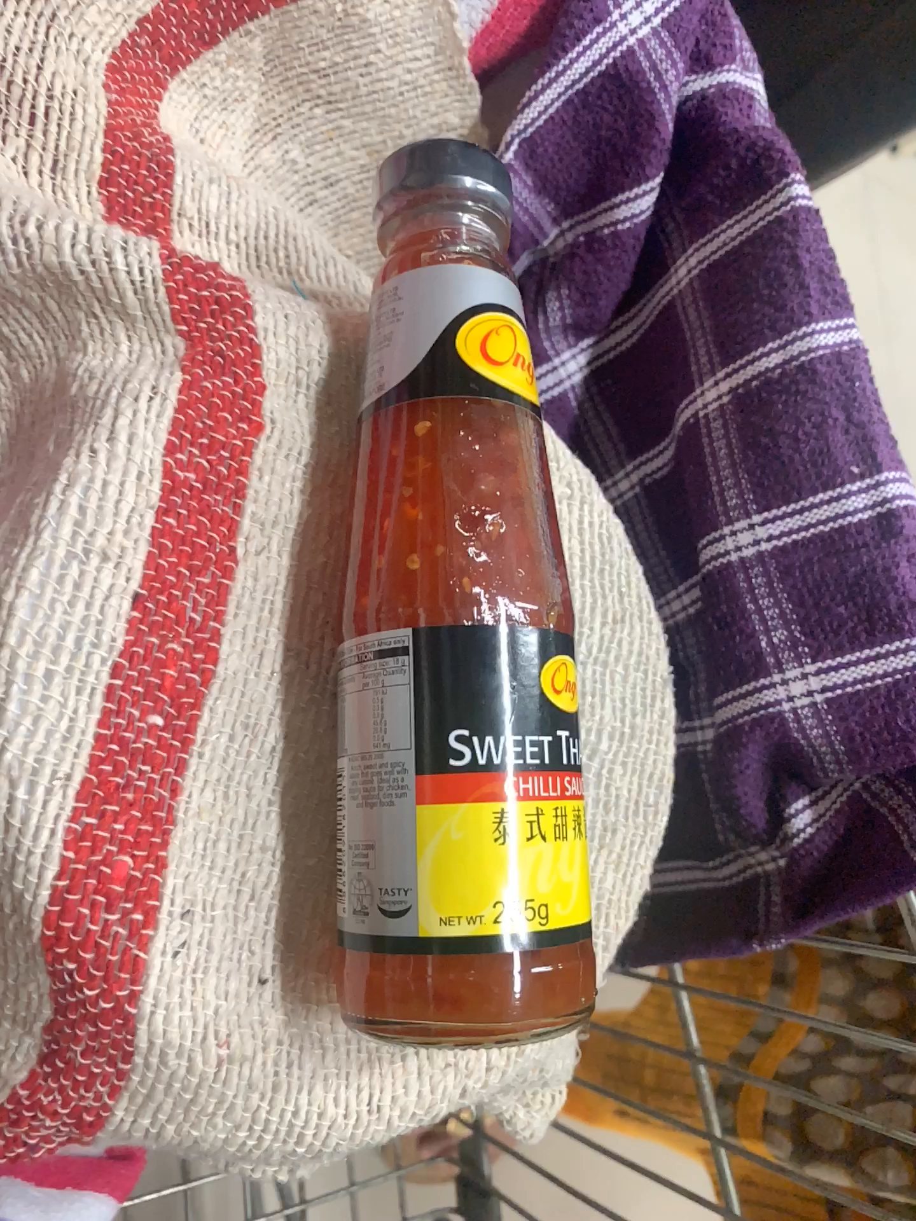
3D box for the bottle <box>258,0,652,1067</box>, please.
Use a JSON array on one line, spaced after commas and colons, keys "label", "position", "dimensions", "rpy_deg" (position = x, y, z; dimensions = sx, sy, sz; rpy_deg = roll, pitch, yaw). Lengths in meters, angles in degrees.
[{"label": "bottle", "position": [0.004, -0.016, 0.201], "dimensions": [0.060, 0.050, 0.190], "rpy_deg": [18, 70, -54]}]
